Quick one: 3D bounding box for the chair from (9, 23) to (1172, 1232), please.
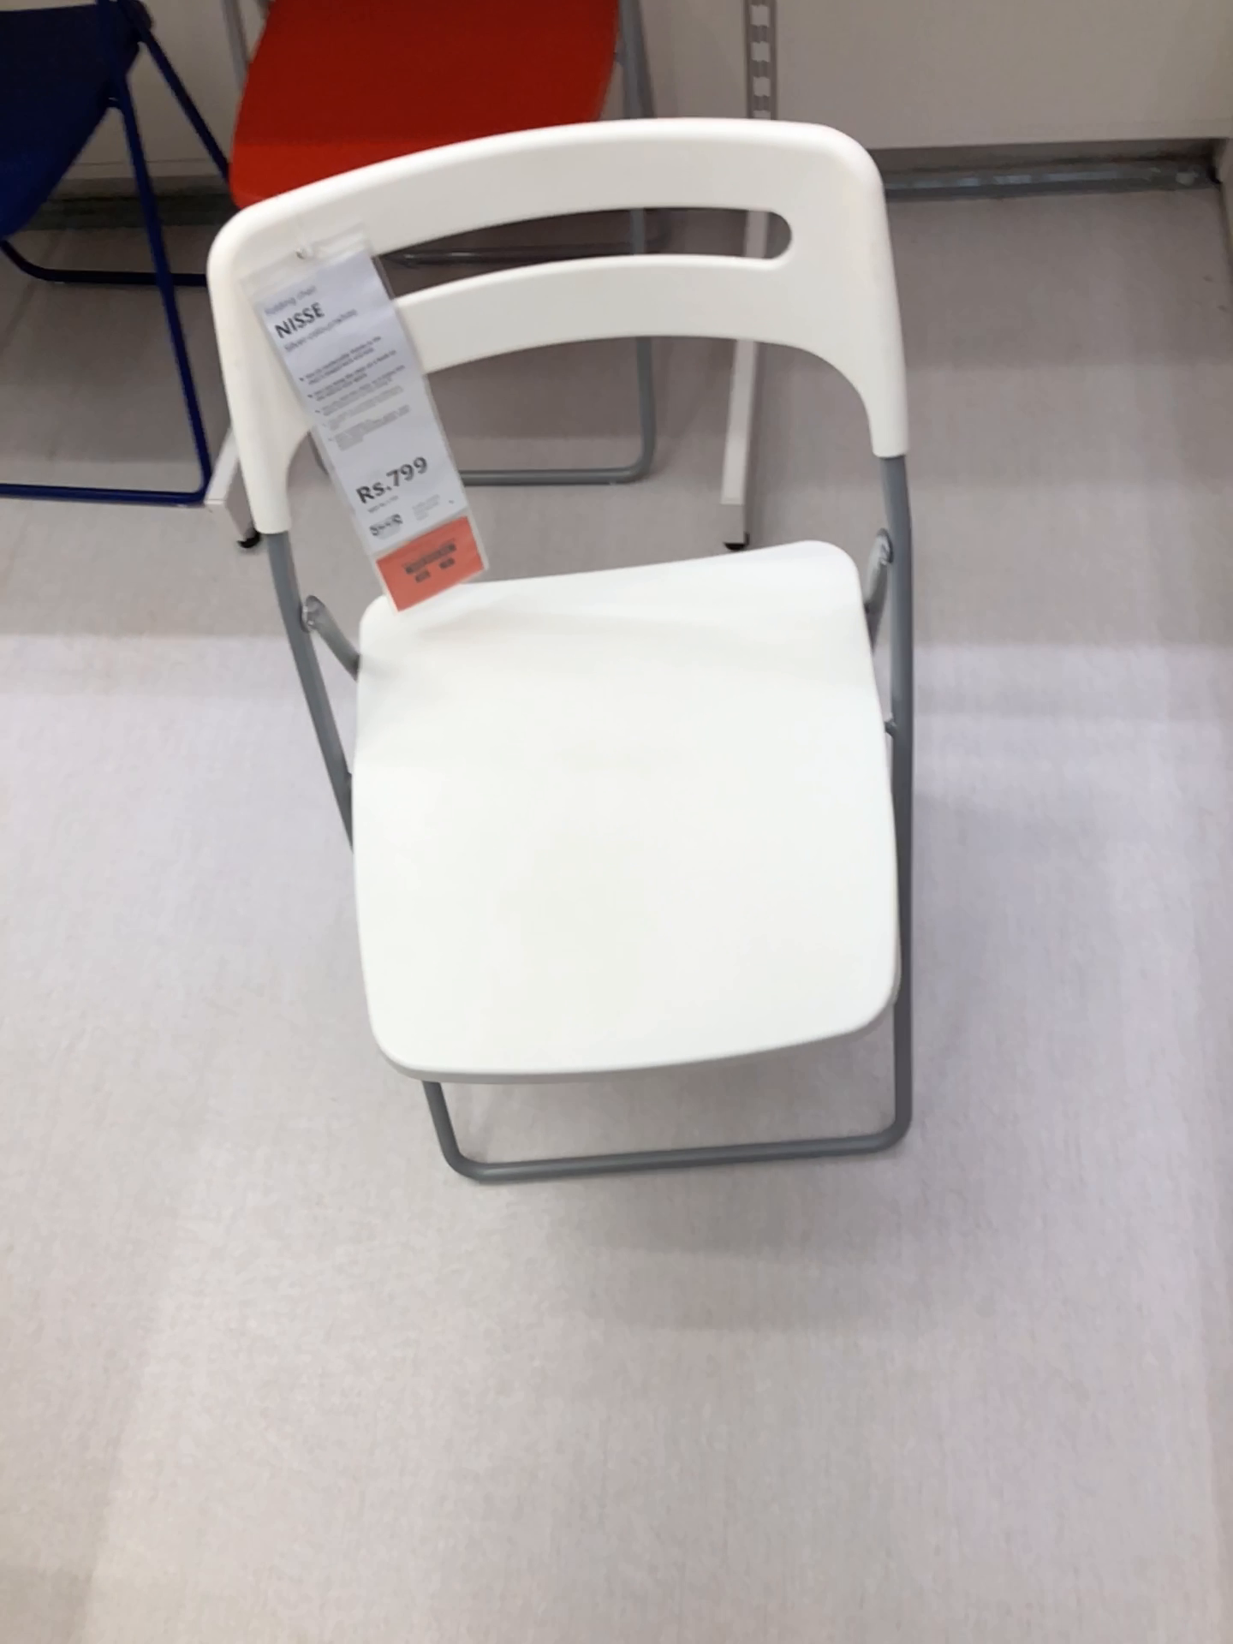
[{"bbox_3d":[0.004,-0.064,0.999,0.500,0.667,0.542,-6,61,4],"label":"chair"}]
